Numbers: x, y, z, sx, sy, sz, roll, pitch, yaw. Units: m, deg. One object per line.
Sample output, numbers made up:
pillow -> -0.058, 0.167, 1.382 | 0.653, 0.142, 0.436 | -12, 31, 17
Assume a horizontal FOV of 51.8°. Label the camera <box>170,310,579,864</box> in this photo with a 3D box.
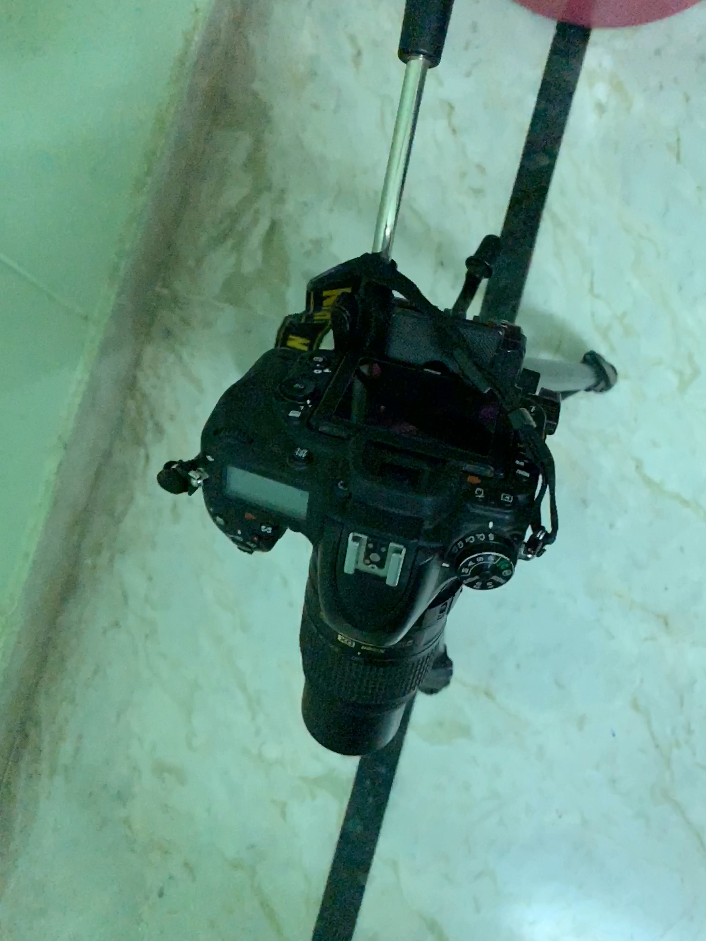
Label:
camera -> 0.003, 0.062, 0.343 | 0.130, 0.215, 0.116 | 17, 41, 7
